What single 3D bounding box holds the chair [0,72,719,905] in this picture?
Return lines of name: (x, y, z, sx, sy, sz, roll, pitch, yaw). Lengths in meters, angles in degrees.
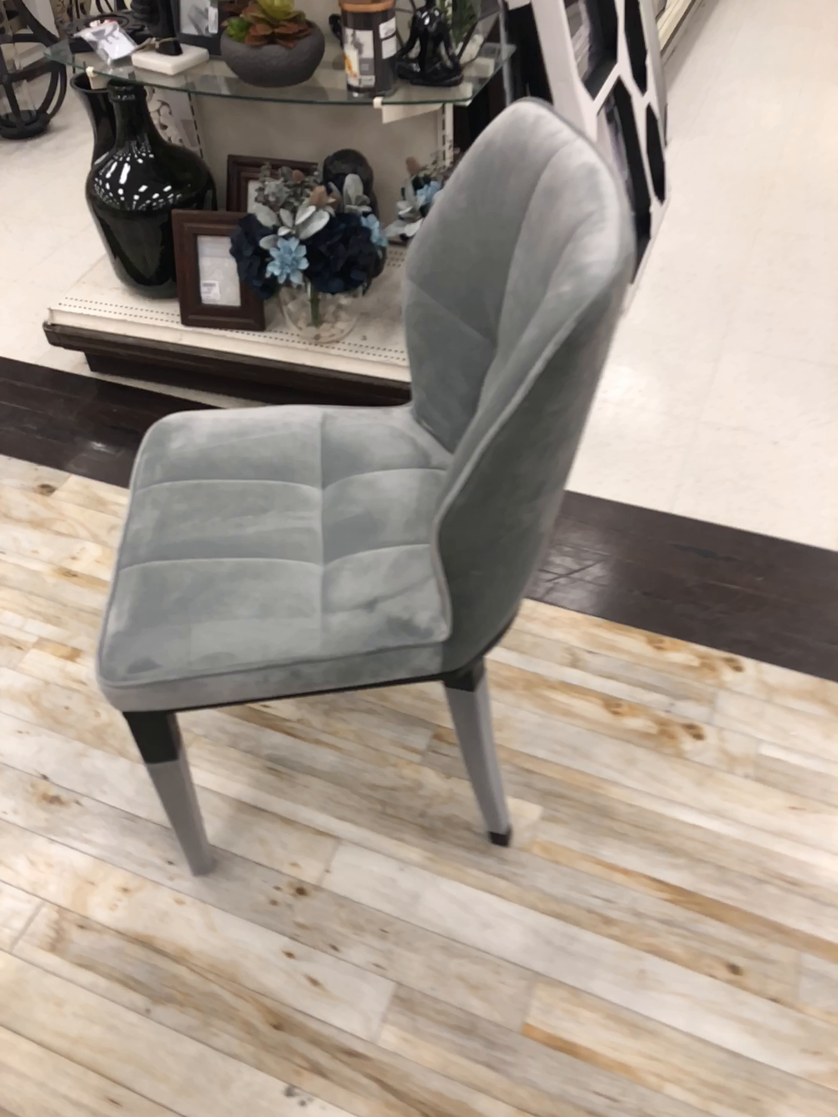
chair: (-0.078, -0.036, 1.120, 0.570, 0.837, 0.532, -3, 45, -1)
